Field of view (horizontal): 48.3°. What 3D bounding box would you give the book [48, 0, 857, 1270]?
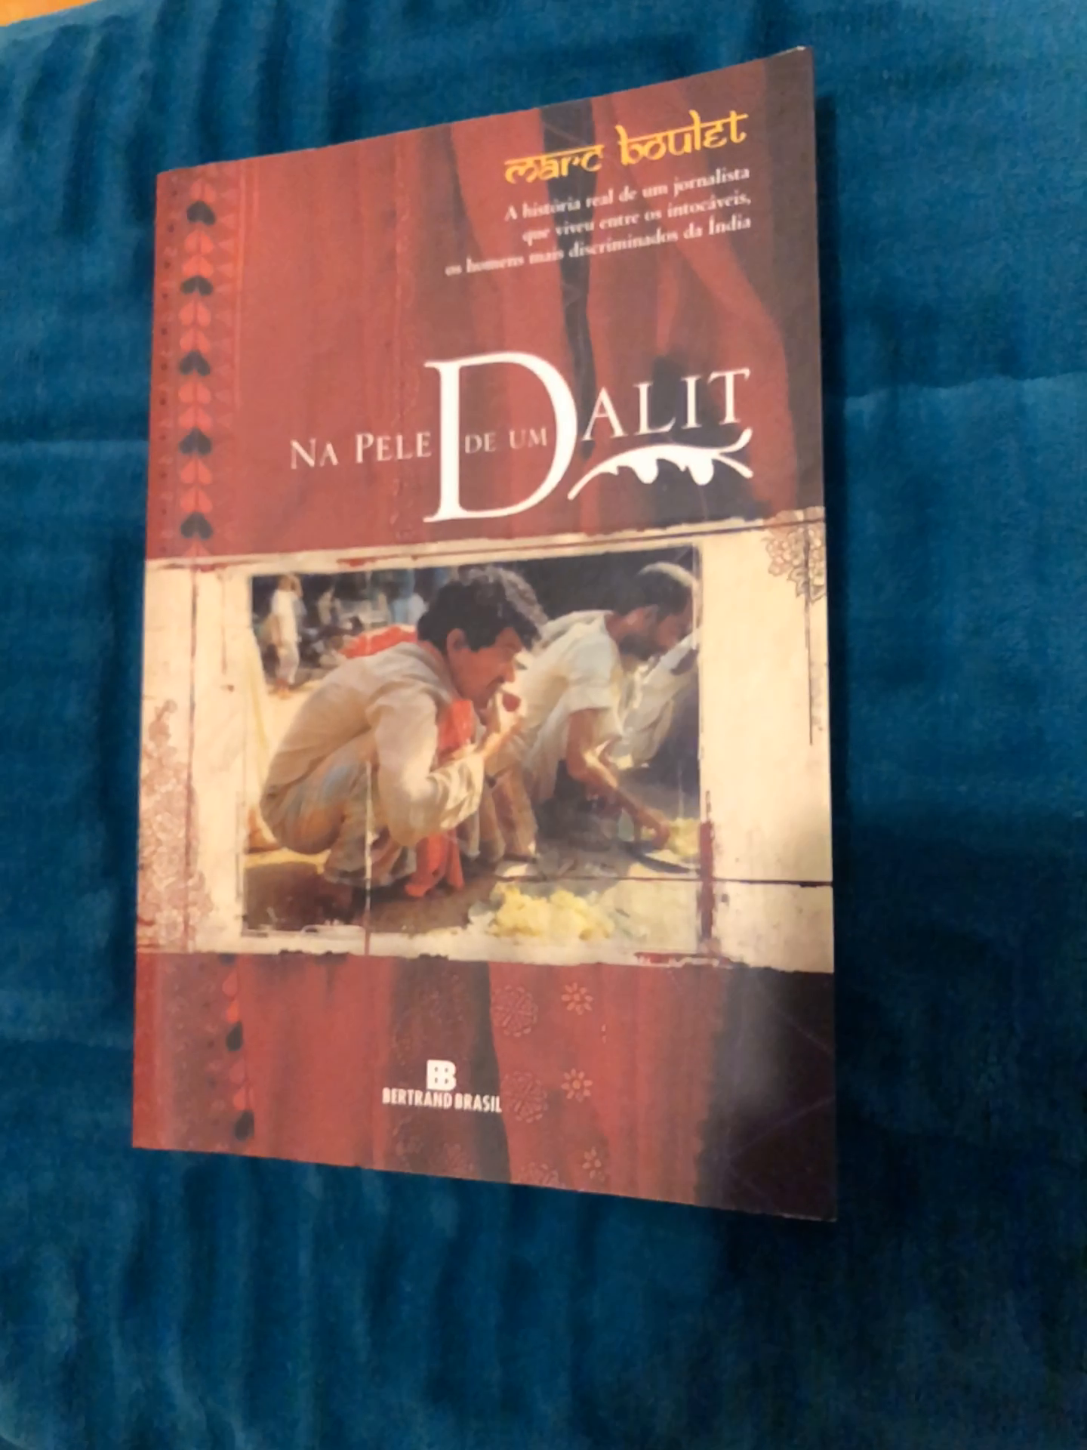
[{"bbox_3d":[-0.021,-0.018,0.247,0.160,0.030,0.220,-1,85,19],"label":"book"}]
